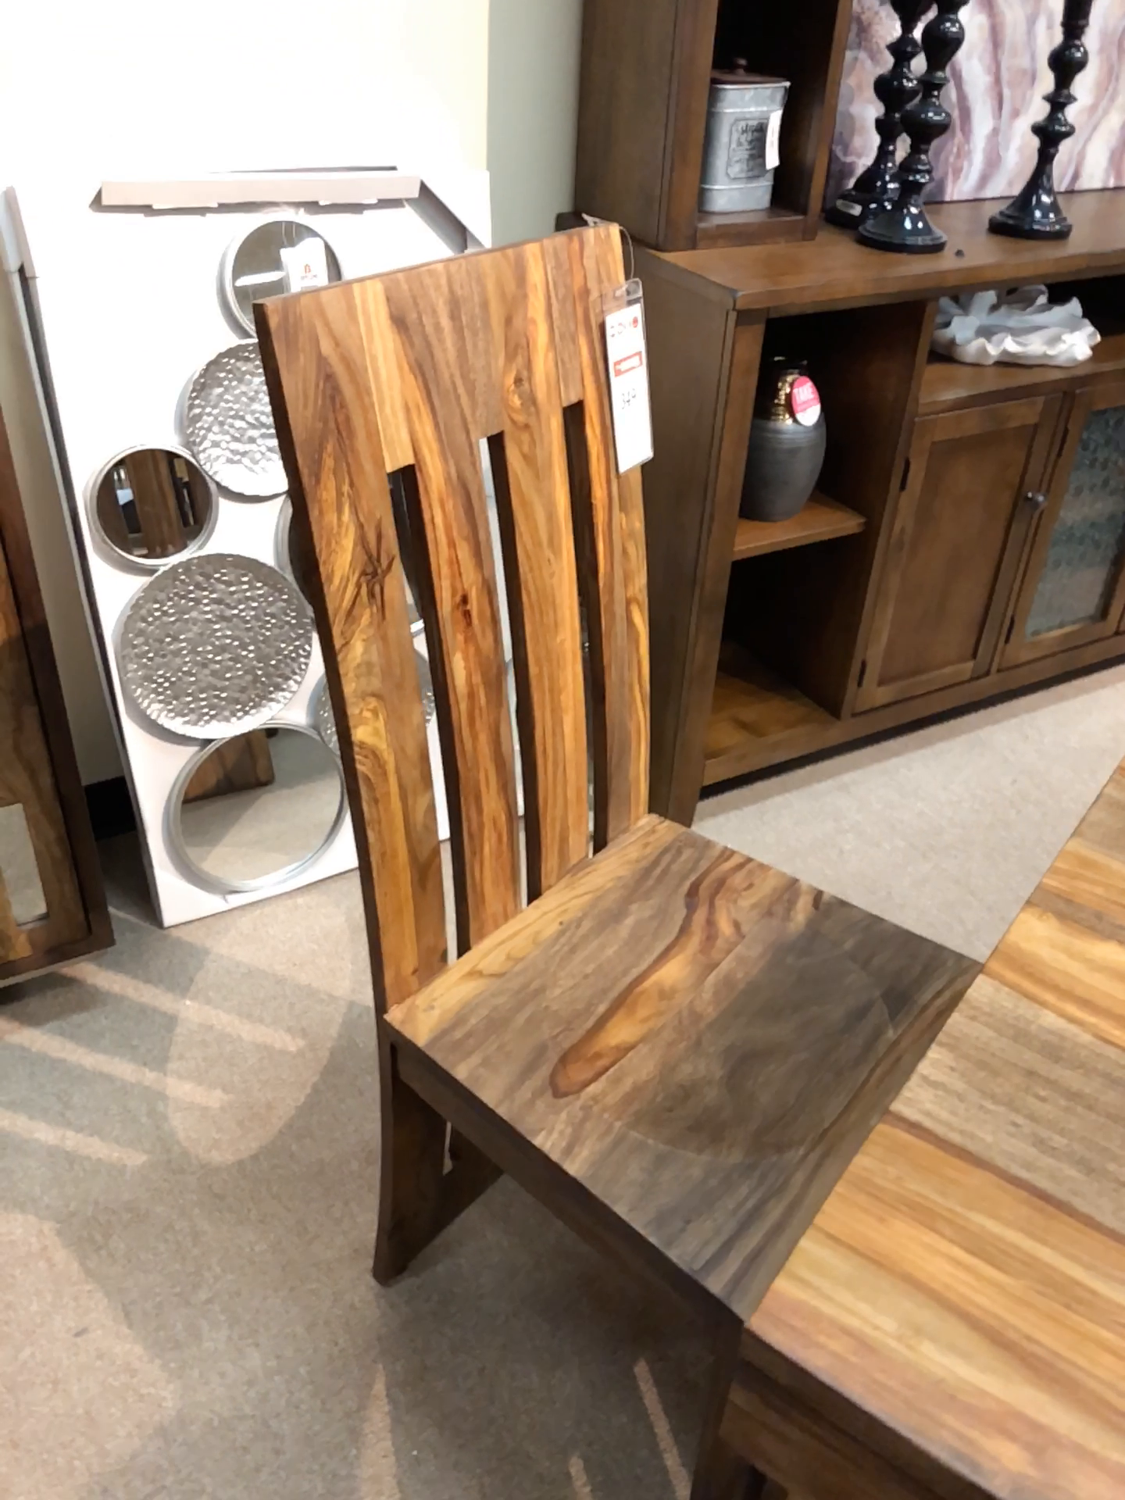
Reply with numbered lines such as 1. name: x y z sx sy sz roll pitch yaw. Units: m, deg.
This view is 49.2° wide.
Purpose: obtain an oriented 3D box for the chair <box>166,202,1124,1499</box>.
1. chair: 0.113 0.148 1.086 0.592 1.023 0.512 27 41 30
